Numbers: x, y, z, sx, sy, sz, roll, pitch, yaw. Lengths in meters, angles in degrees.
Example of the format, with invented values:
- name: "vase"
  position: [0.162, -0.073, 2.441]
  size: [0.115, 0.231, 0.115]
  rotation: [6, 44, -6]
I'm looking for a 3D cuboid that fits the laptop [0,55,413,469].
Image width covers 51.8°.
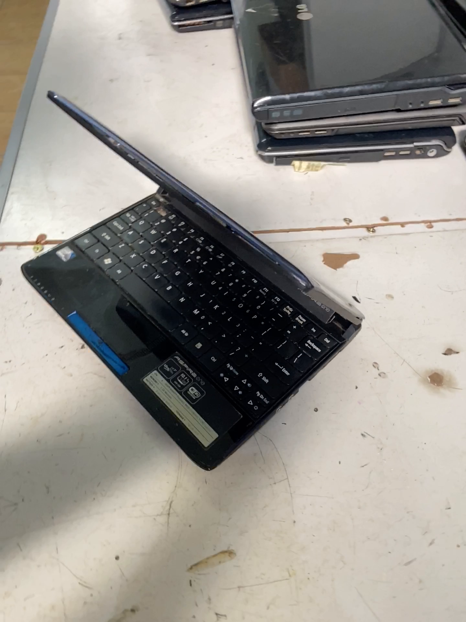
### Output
- name: "laptop"
  position: [-0.041, -0.052, 0.355]
  size: [0.171, 0.131, 0.244]
  rotation: [-37, 62, -25]
